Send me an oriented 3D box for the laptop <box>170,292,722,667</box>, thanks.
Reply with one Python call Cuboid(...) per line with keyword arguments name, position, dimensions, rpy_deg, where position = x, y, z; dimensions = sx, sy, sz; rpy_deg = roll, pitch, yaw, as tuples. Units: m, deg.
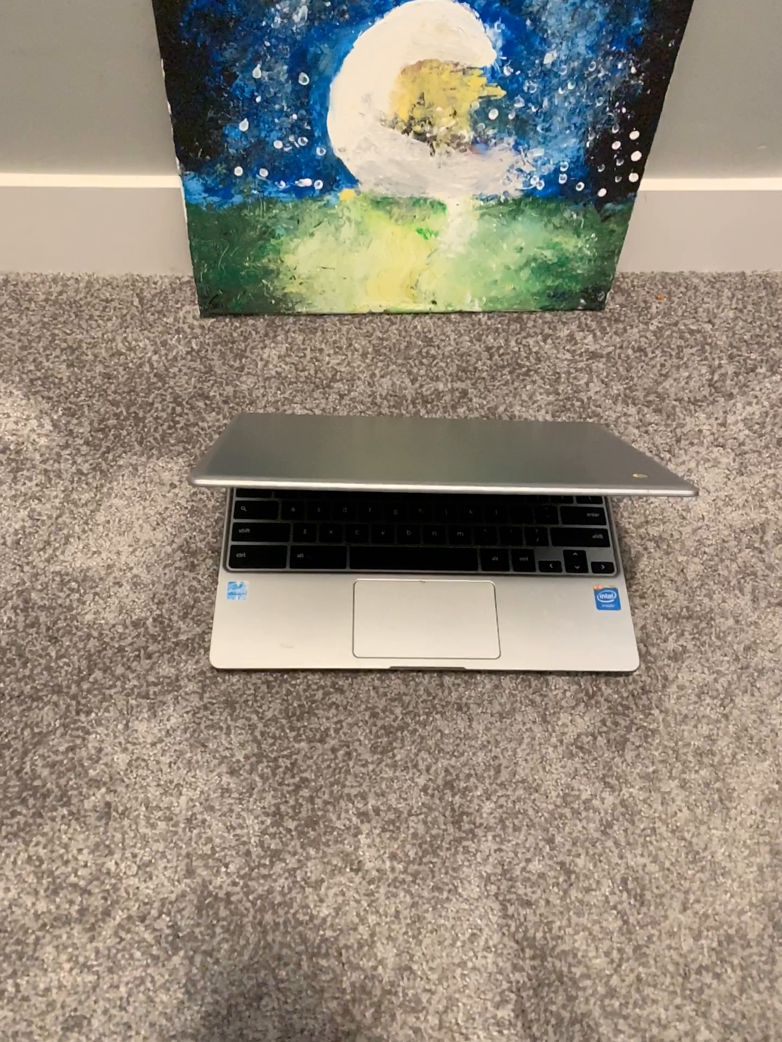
Cuboid(name="laptop", position=(0.027, -0.022, 0.533), dimensions=(0.294, 0.144, 0.200), rpy_deg=(1, 61, -4))
